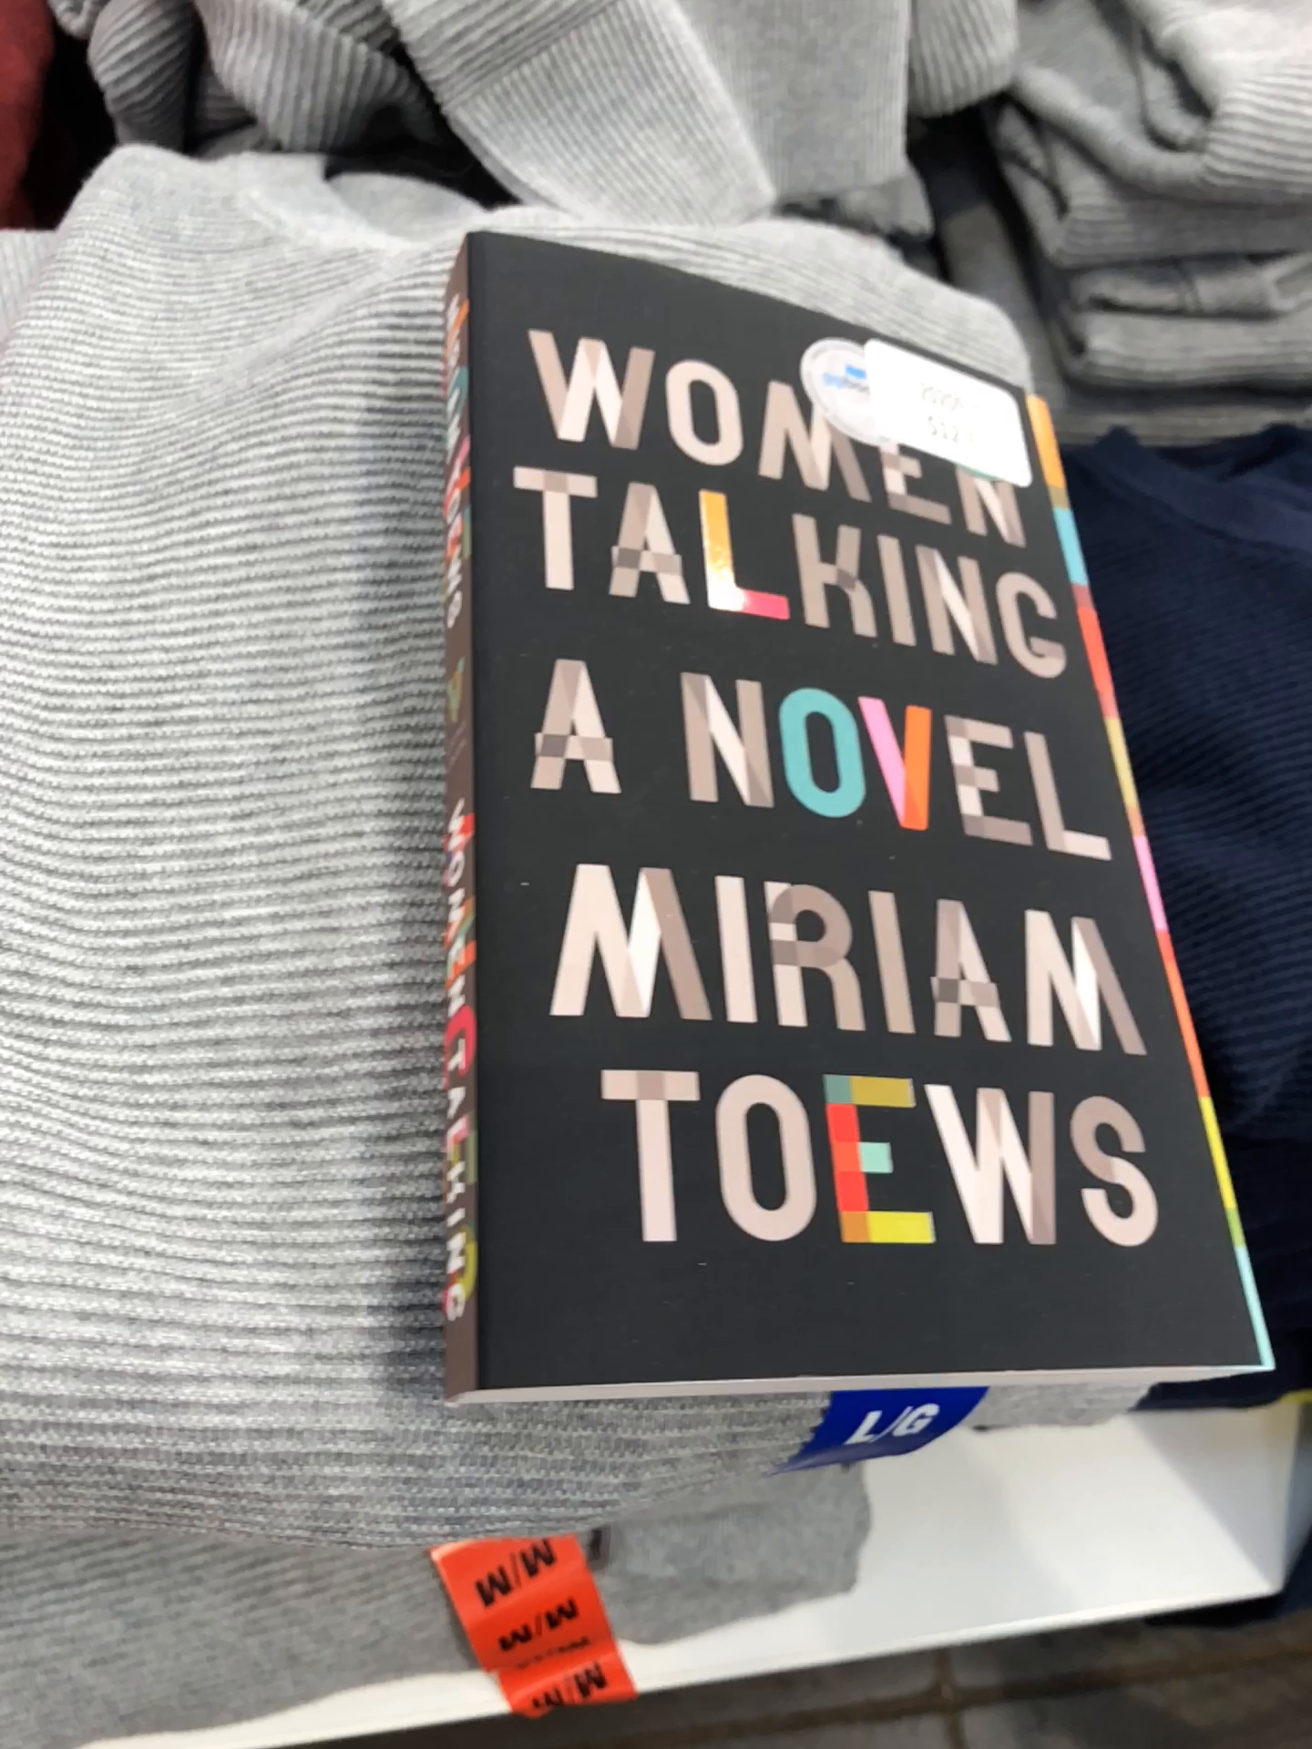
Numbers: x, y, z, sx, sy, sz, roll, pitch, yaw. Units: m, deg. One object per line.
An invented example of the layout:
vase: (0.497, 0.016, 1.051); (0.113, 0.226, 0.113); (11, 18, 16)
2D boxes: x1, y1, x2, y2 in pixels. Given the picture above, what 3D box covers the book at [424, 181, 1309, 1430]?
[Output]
book: (0.029, -0.019, 0.256); (0.135, 0.020, 0.211); (6, 64, -21)
